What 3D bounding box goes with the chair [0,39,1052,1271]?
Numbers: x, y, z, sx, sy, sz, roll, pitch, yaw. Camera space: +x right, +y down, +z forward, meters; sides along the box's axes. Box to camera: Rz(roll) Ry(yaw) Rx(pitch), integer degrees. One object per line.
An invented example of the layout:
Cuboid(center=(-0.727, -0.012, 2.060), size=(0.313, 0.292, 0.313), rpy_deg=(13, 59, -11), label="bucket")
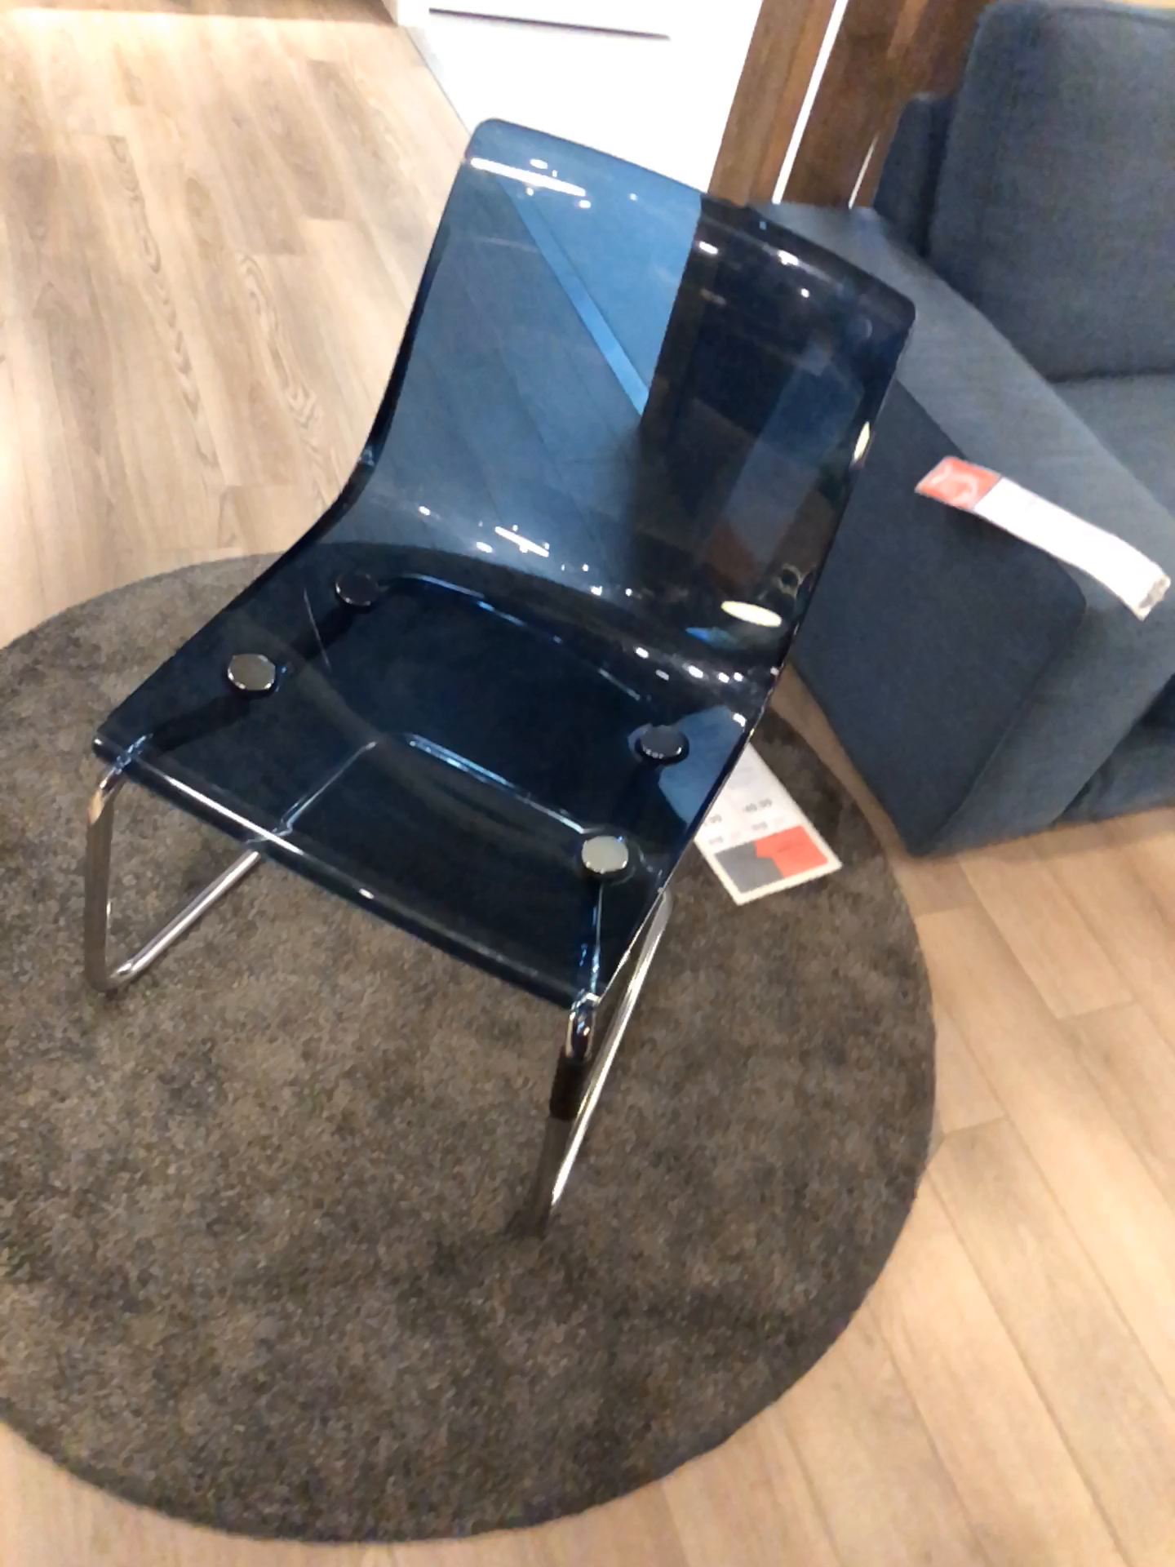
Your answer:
Cuboid(center=(-0.085, -0.069, 1.209), size=(0.580, 0.867, 0.502), rpy_deg=(27, 47, 8), label="chair")
